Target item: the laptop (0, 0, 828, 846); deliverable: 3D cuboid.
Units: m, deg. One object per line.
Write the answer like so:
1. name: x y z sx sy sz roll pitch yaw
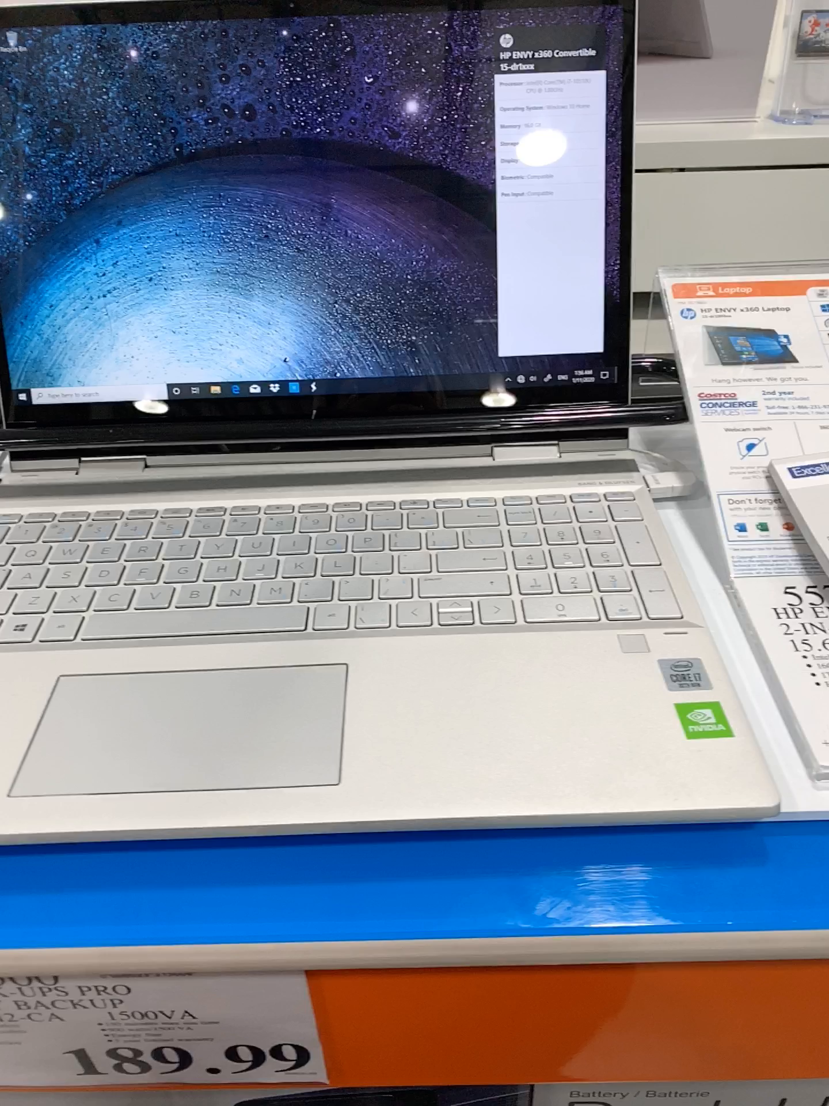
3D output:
1. laptop: -0.056 -0.095 0.359 0.346 0.209 0.341 -2 37 0
